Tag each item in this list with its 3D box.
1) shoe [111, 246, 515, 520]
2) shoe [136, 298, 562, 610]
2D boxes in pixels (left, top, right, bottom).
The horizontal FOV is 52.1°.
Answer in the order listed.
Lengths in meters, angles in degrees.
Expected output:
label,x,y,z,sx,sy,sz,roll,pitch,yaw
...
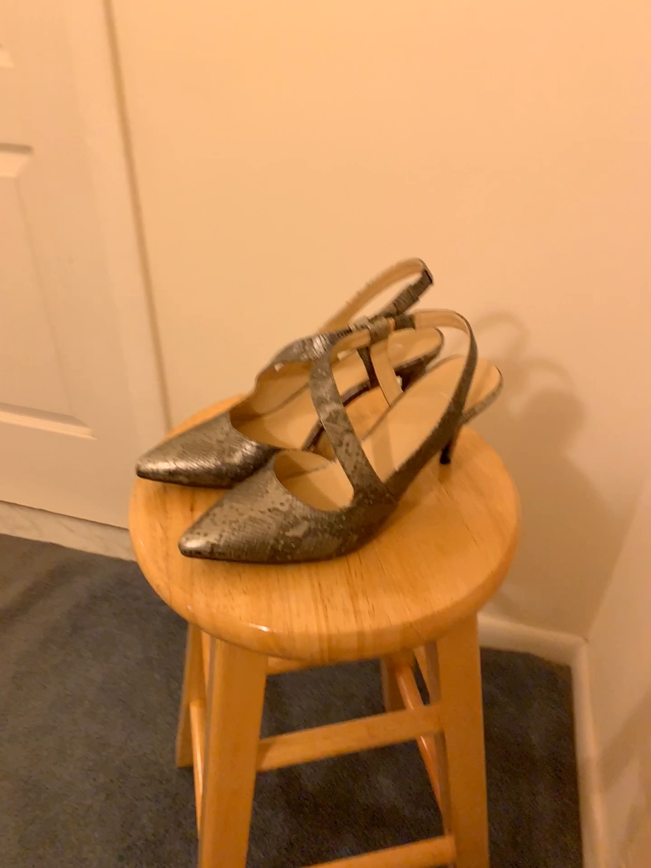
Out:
label,x,y,z,sx,sy,sz,roll,pitch,yaw
shoe,-0.007,-0.049,0.508,0.269,0.125,0.101,-14,38,-20
shoe,0.018,0.000,0.448,0.250,0.106,0.103,-17,39,-24
